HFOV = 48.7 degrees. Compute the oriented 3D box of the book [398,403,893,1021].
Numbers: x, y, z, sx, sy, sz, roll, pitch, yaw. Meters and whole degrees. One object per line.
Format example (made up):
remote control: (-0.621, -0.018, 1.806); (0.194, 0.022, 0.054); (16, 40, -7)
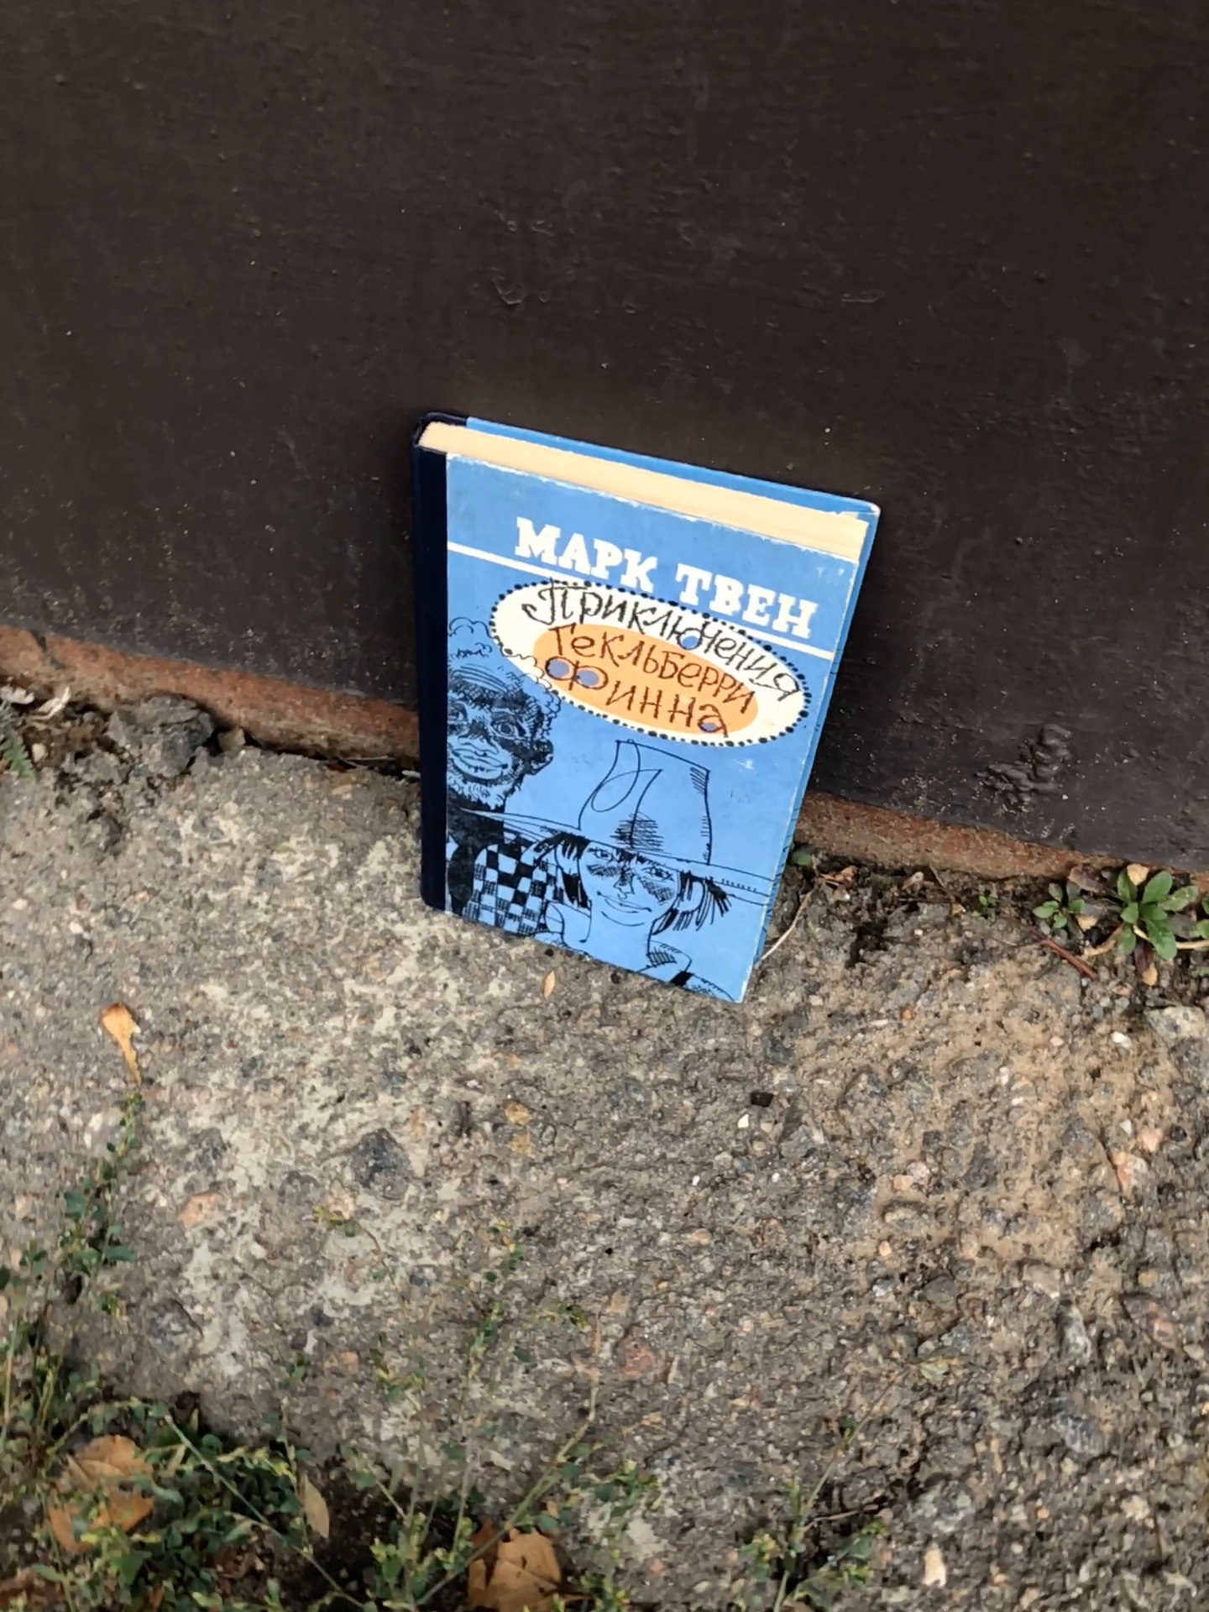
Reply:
book: (0.005, -0.020, 0.421); (0.130, 0.186, 0.030); (16, 45, 12)
